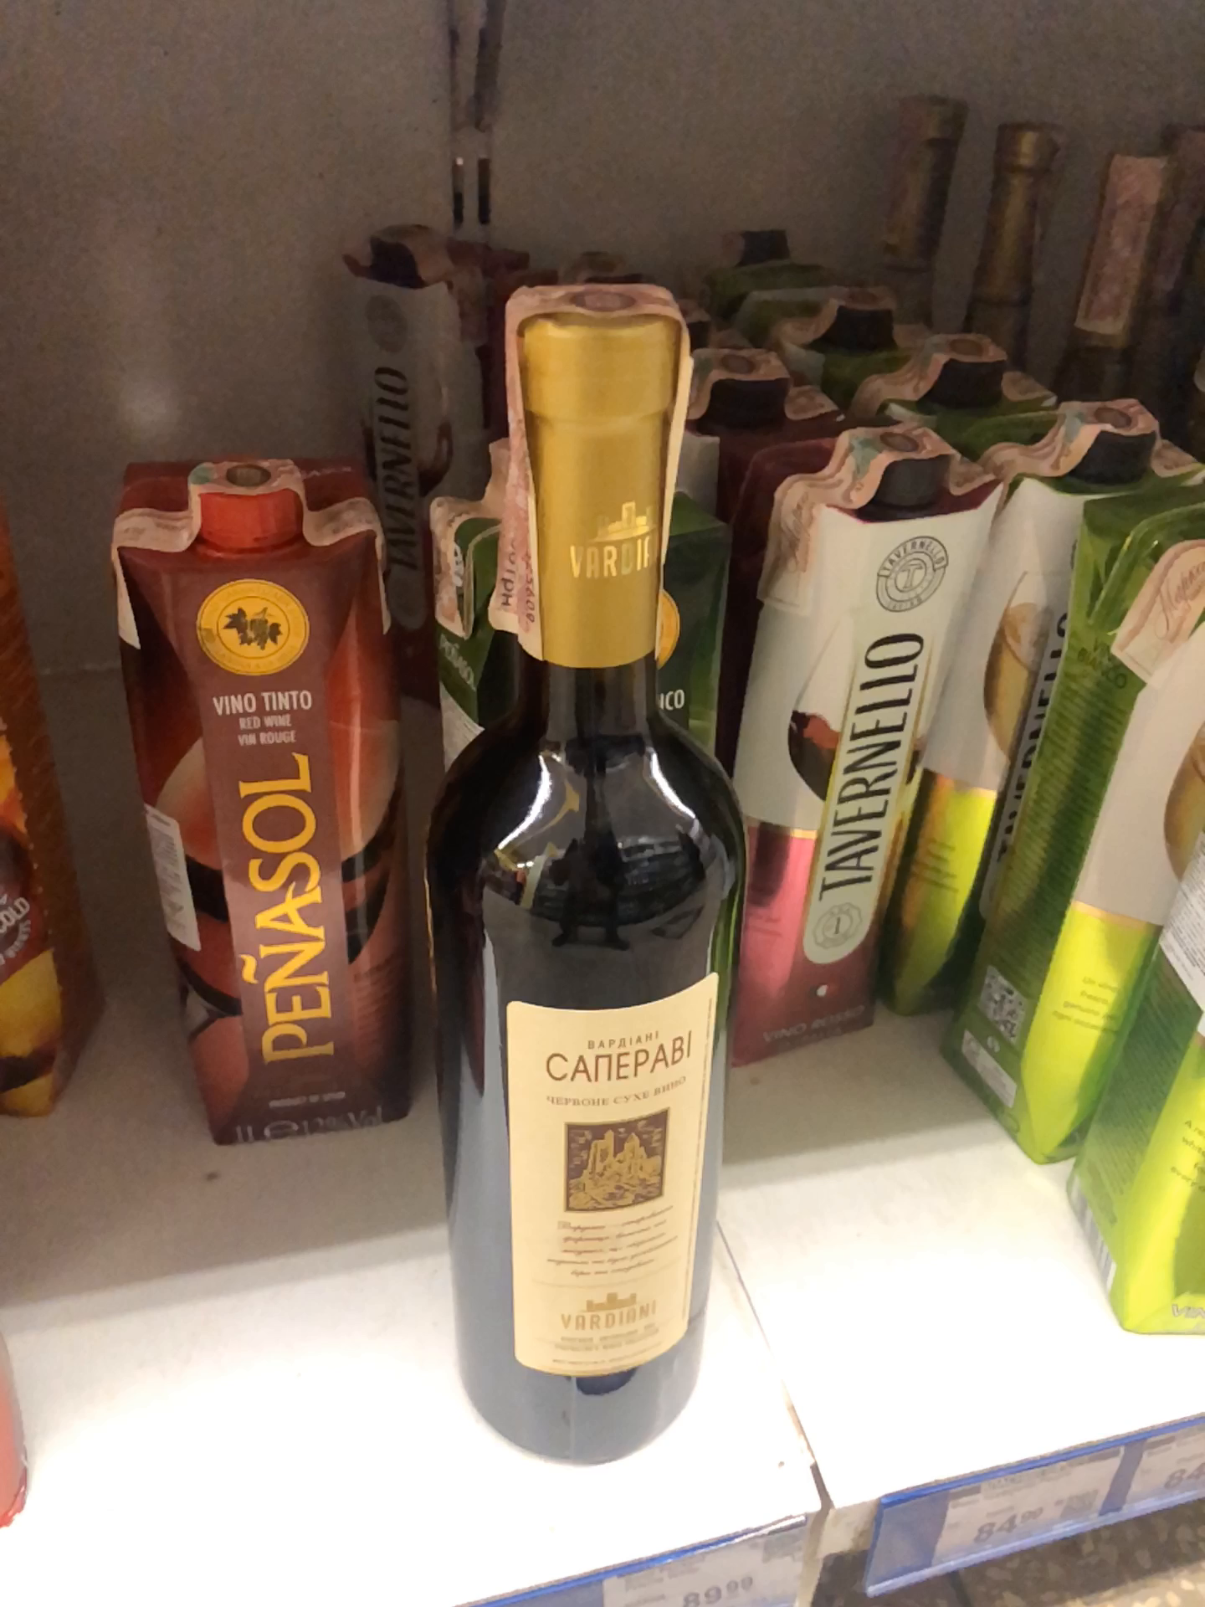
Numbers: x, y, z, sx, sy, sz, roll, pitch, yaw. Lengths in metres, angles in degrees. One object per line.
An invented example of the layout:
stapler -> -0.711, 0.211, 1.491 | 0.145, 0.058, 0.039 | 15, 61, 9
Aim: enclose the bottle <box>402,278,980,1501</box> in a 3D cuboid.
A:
bottle -> 0.003, 0.038, 0.299 | 0.080, 0.281, 0.070 | -5, 34, -12
